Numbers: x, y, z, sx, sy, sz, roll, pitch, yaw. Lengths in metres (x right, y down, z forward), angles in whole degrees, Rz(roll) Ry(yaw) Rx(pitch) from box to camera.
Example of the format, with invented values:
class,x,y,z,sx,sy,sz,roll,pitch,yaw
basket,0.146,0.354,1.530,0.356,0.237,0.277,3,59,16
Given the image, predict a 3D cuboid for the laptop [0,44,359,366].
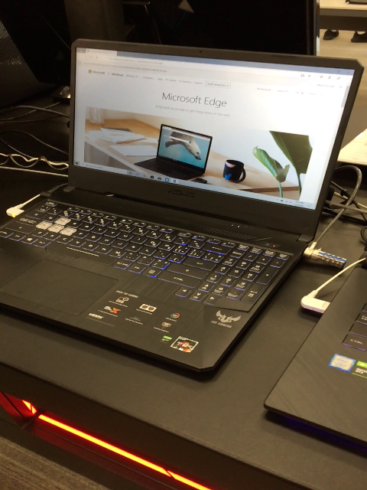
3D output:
class,x,y,z,sx,sy,sz,roll,pitch,yaw
laptop,-0.066,-0.082,0.557,0.382,0.209,0.327,17,41,24
